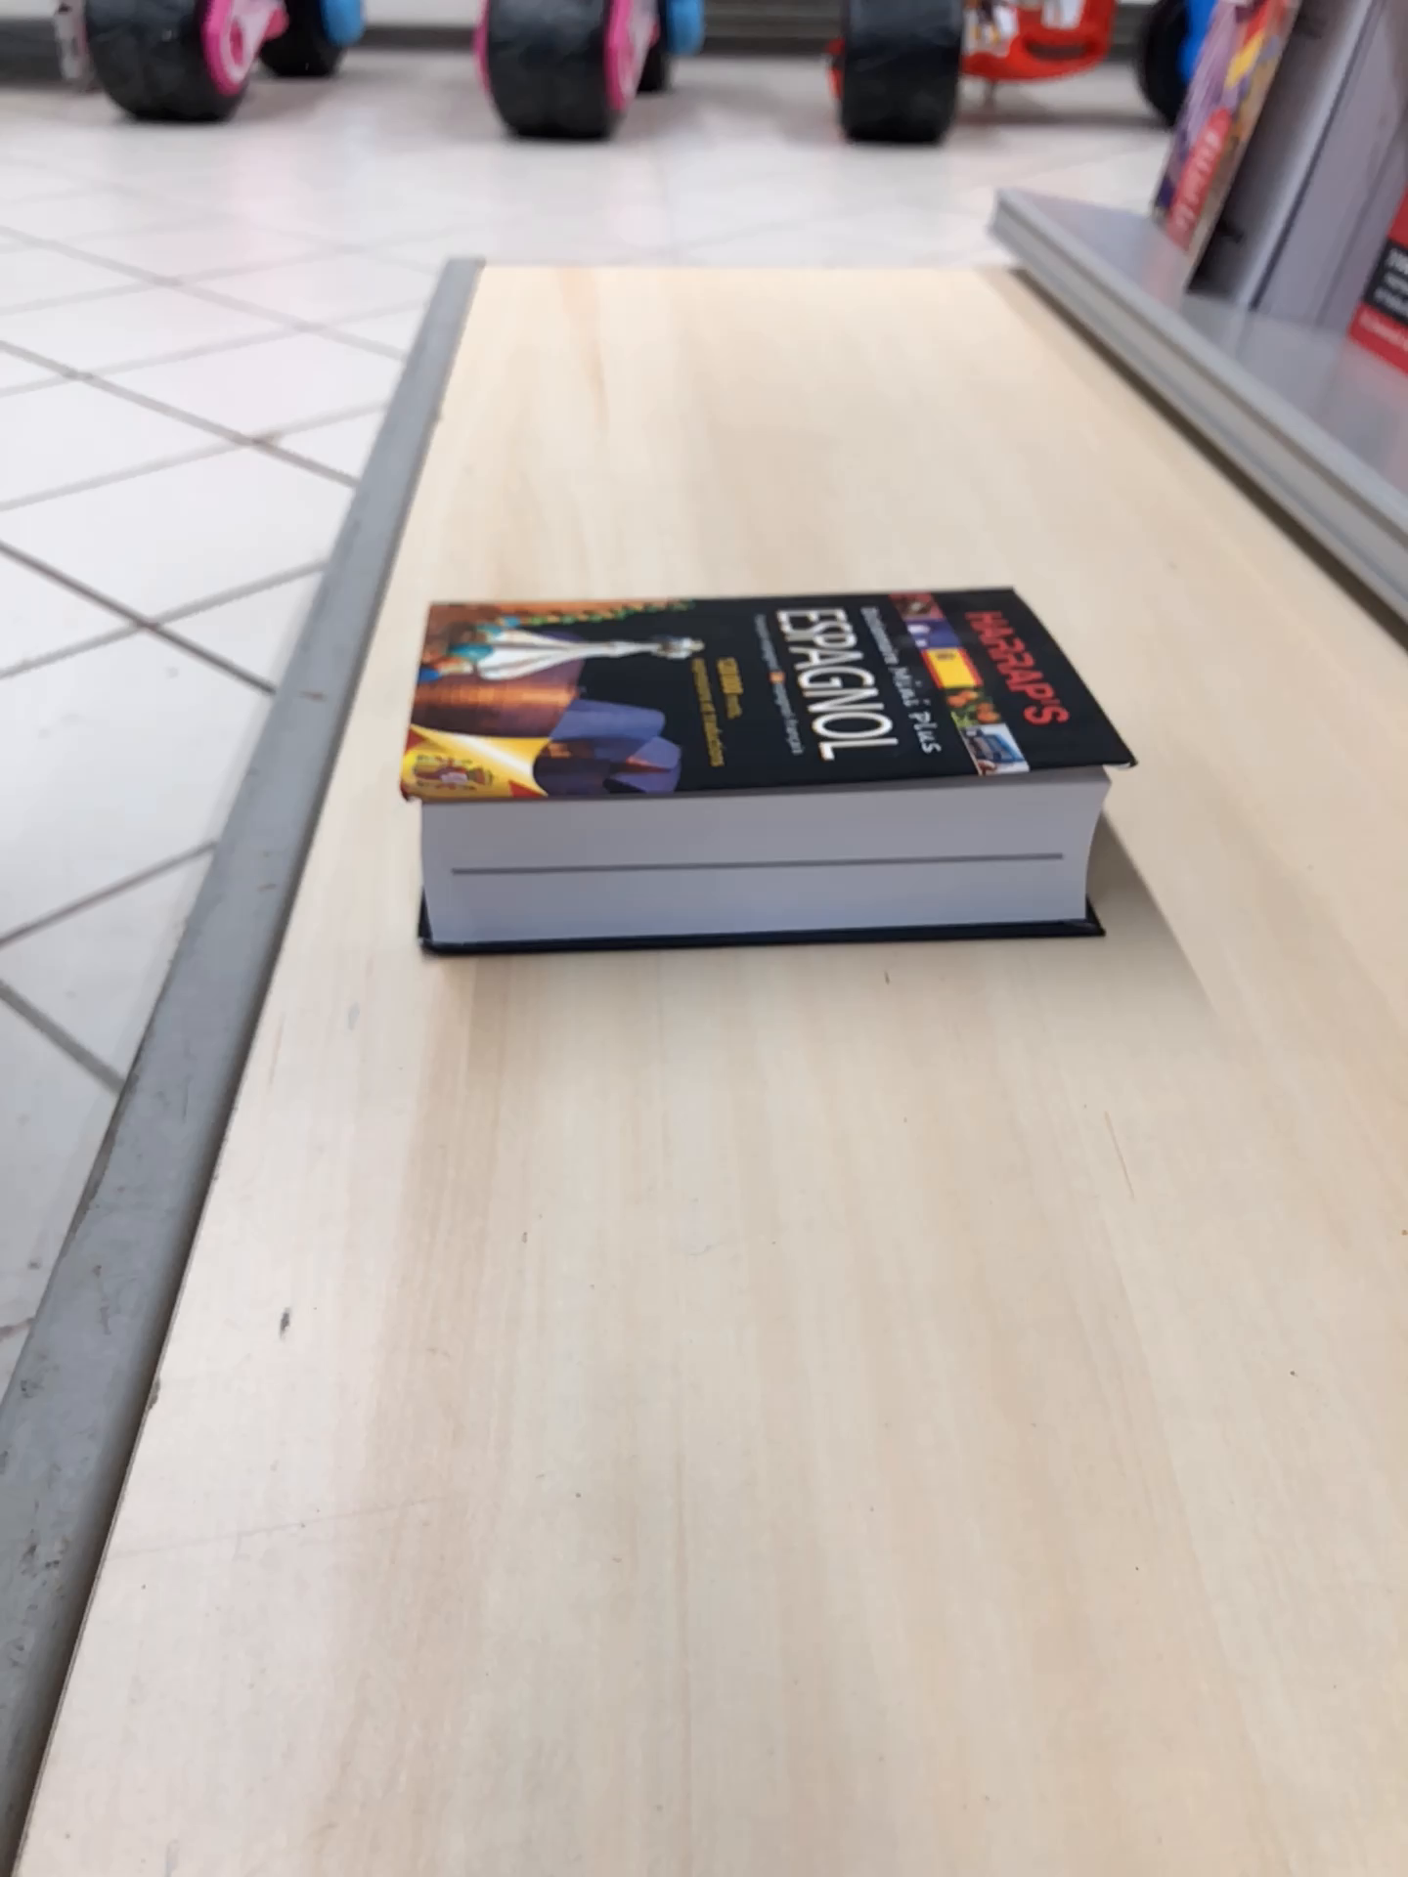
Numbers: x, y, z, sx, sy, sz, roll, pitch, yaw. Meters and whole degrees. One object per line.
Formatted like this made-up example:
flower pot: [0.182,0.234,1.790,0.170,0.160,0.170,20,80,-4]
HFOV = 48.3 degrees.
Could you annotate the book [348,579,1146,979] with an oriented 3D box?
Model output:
book: [0.006,-0.039,0.339,0.145,0.038,0.103,-2,33,-3]
